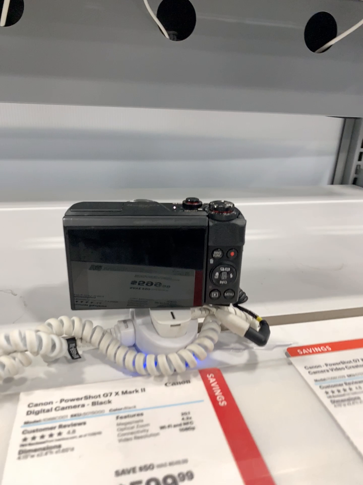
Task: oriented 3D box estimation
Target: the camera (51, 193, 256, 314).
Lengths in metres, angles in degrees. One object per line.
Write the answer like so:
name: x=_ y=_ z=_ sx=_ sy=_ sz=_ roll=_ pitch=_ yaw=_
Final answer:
camera: x=-0.018 y=0.006 z=0.233 sx=0.110 sy=0.060 sz=0.044 roll=1 pitch=22 yaw=-7
